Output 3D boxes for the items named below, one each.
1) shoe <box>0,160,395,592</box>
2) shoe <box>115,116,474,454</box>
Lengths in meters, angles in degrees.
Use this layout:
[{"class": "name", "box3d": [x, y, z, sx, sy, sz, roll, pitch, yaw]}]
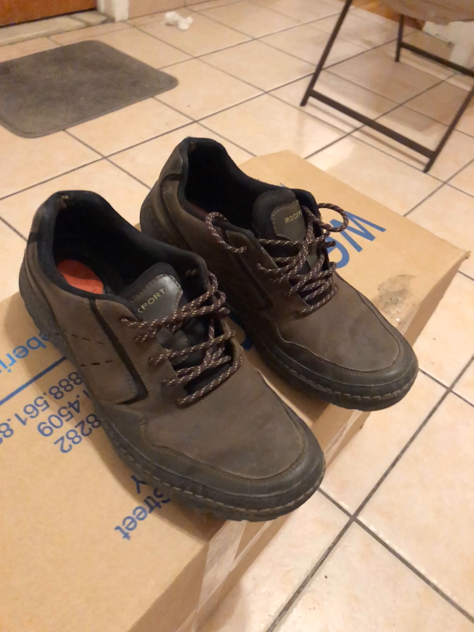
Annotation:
[{"class": "shoe", "box3d": [-0.054, 0.022, 0.364, 0.111, 0.109, 0.281, -32, 60, -33]}, {"class": "shoe", "box3d": [0.031, -0.044, 0.443, 0.111, 0.109, 0.291, -32, 59, -33]}]
